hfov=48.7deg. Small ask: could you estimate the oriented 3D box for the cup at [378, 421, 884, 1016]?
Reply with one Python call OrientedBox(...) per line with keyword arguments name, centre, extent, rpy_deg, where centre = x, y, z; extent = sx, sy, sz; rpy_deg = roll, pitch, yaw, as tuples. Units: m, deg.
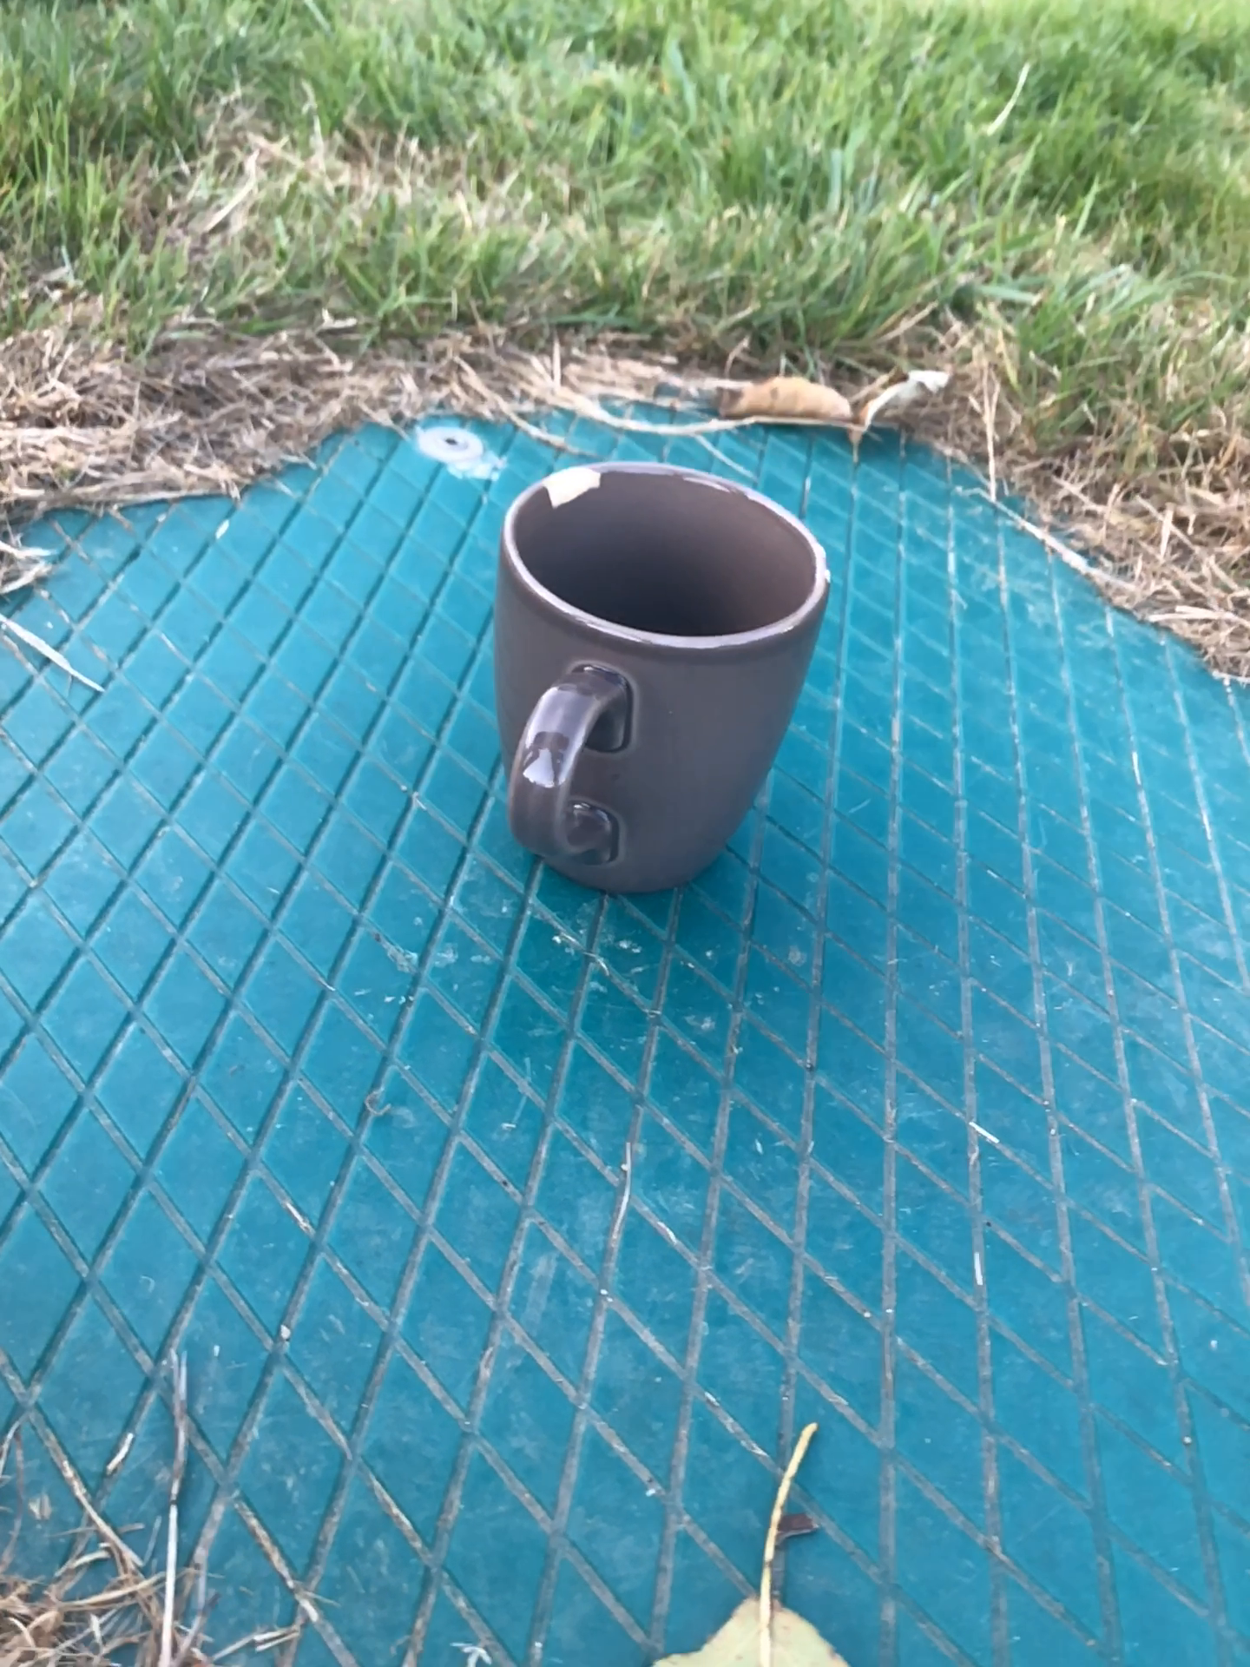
OrientedBox(name="cup", centre=(0.004, -0.037, 0.373), extent=(0.090, 0.085, 0.127), rpy_deg=(18, 40, 10))
